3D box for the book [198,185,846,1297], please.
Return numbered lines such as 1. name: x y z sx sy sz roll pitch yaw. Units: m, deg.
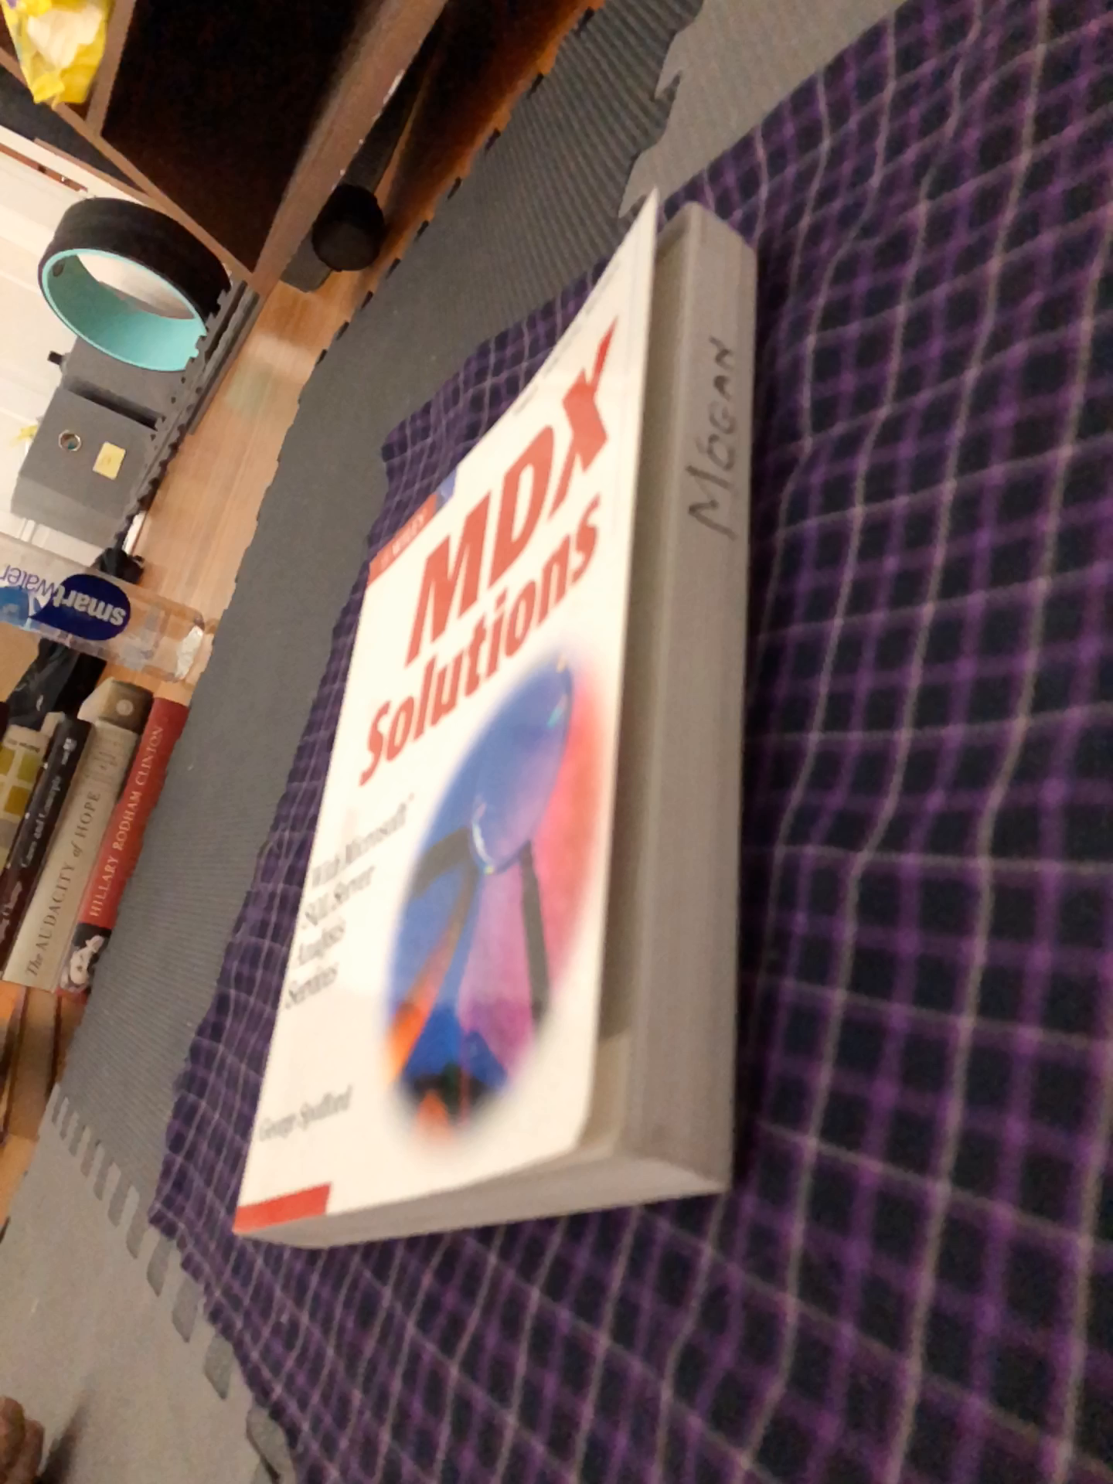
1. book: -0.013 0.012 0.354 0.221 0.050 0.261 -36 39 50
